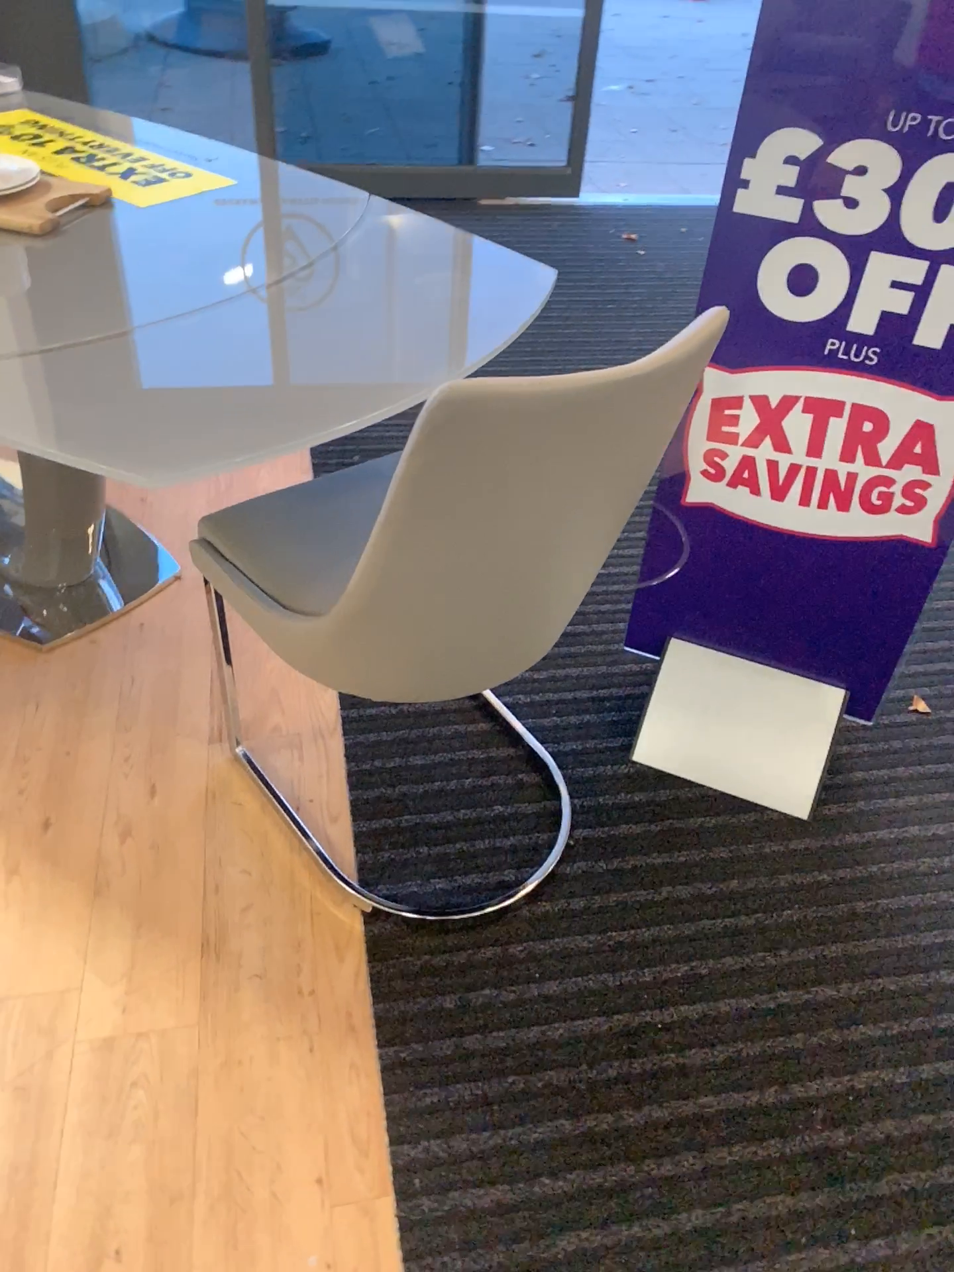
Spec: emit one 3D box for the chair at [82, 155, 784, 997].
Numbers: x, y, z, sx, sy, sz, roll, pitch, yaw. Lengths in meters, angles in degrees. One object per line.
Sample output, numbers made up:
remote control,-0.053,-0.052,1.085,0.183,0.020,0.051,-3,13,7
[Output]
chair,-0.085,-0.094,1.325,0.509,0.846,0.593,-26,49,-31
